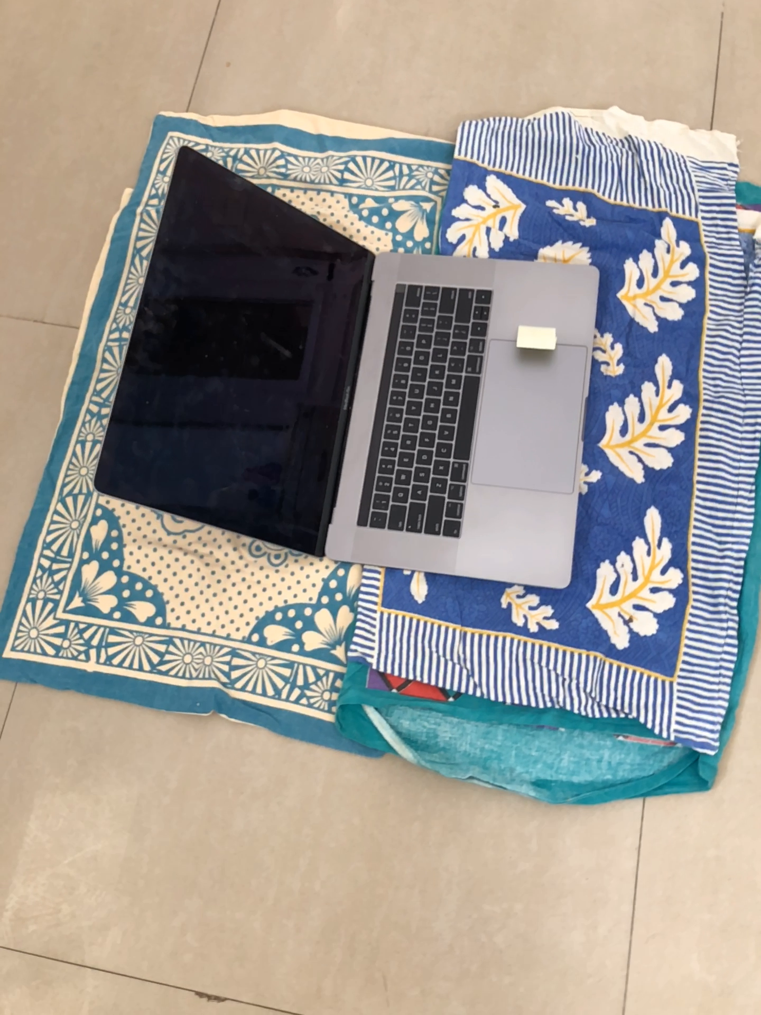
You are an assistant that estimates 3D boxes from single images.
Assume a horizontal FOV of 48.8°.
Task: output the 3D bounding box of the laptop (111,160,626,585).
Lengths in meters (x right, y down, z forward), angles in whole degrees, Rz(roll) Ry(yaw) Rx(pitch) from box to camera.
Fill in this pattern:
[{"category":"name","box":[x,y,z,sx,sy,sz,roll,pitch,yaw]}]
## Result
[{"category":"laptop","box":[-0.001,-0.129,0.791,0.401,0.132,0.336,7,74,7]}]
